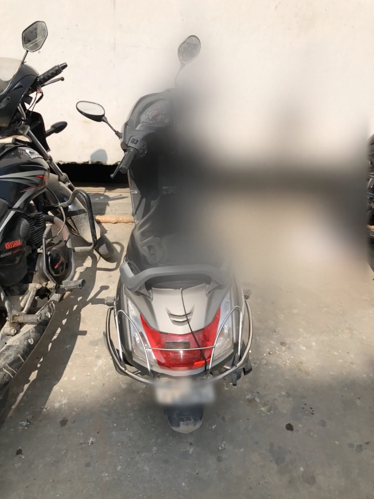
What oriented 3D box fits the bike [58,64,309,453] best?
[{"bbox_3d":[-0.099,-0.113,1.912,0.616,1.107,1.508,4,32,-7],"label":"bike"}]
